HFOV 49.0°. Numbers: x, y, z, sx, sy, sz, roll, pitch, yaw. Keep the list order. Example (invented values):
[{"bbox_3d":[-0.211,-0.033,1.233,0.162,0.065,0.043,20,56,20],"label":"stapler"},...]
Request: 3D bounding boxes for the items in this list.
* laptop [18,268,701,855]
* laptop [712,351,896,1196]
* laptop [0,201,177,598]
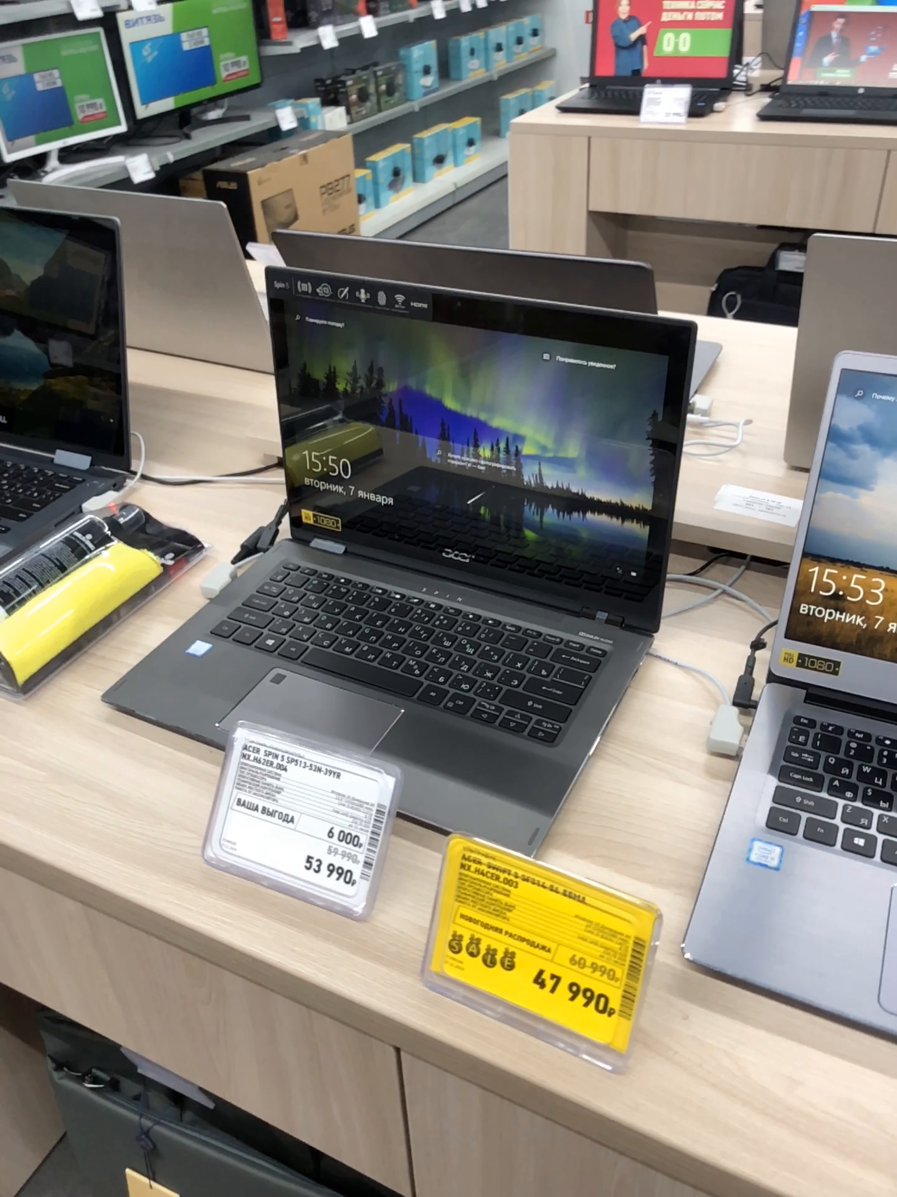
[{"bbox_3d":[-0.039,-0.050,0.634,0.315,0.215,0.246,15,39,24],"label":"laptop"},{"bbox_3d":[0.304,0.039,0.485,0.270,0.196,0.299,12,38,23],"label":"laptop"},{"bbox_3d":[-0.493,-0.200,0.883,0.340,0.215,0.289,13,39,24],"label":"laptop"}]
